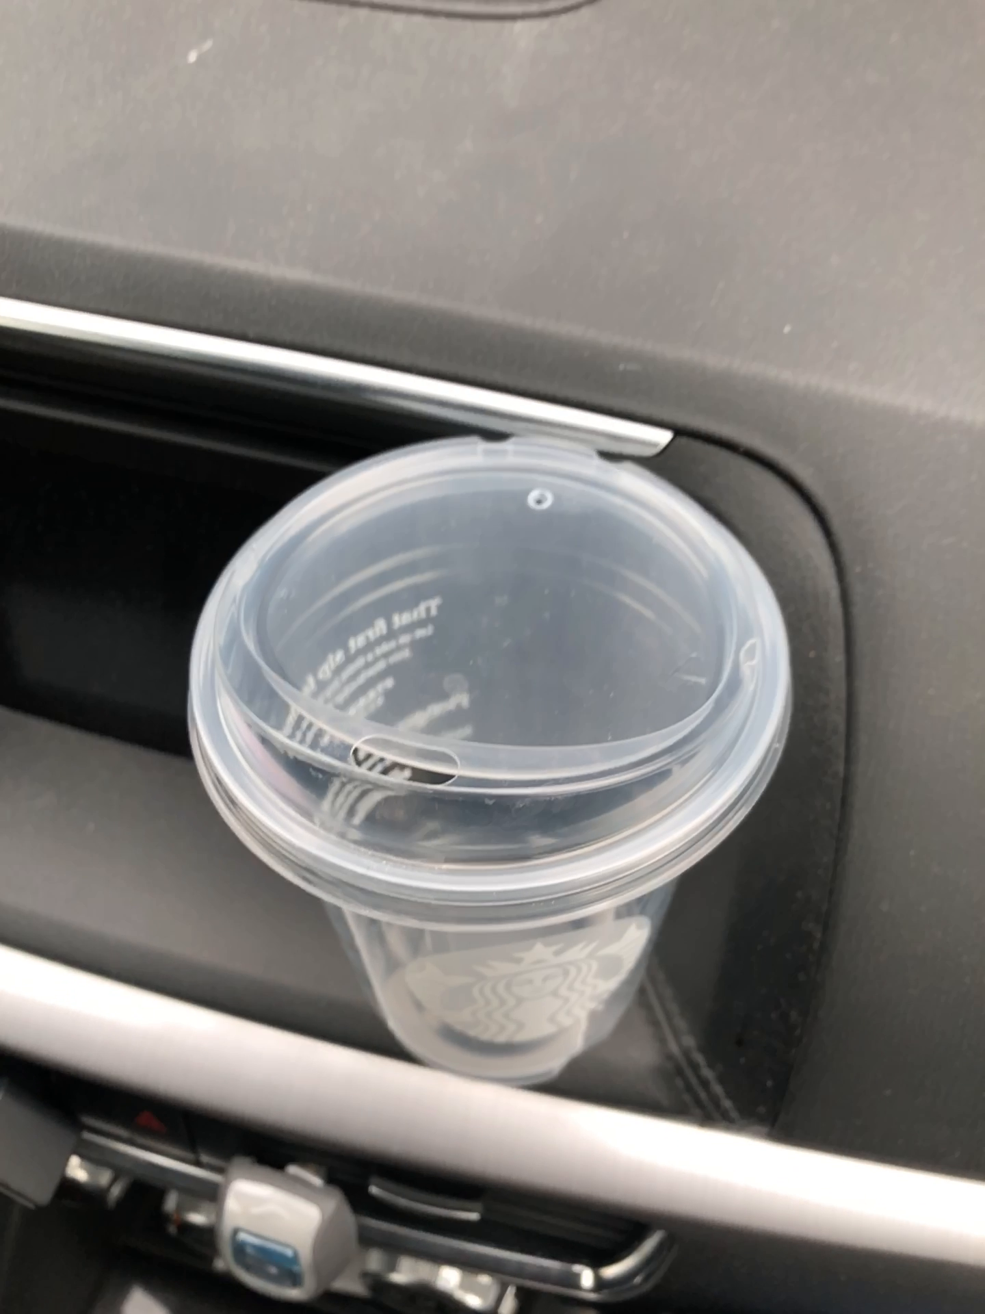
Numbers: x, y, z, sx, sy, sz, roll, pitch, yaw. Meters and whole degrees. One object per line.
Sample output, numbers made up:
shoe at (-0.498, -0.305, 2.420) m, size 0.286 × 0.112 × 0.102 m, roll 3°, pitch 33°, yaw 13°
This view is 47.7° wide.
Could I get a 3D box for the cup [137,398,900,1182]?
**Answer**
cup at (-0.001, 0.033, 0.202) m, size 0.088 × 0.125 × 0.082 m, roll 0°, pitch 55°, yaw 0°
